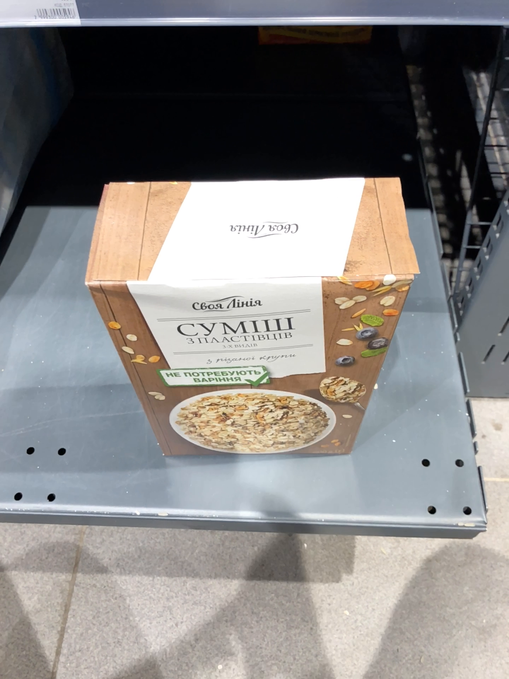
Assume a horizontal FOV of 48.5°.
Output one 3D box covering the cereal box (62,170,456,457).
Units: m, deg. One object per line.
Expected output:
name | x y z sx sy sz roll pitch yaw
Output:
cereal box | 0.003 0.003 0.334 0.160 0.209 0.060 -1 58 1
